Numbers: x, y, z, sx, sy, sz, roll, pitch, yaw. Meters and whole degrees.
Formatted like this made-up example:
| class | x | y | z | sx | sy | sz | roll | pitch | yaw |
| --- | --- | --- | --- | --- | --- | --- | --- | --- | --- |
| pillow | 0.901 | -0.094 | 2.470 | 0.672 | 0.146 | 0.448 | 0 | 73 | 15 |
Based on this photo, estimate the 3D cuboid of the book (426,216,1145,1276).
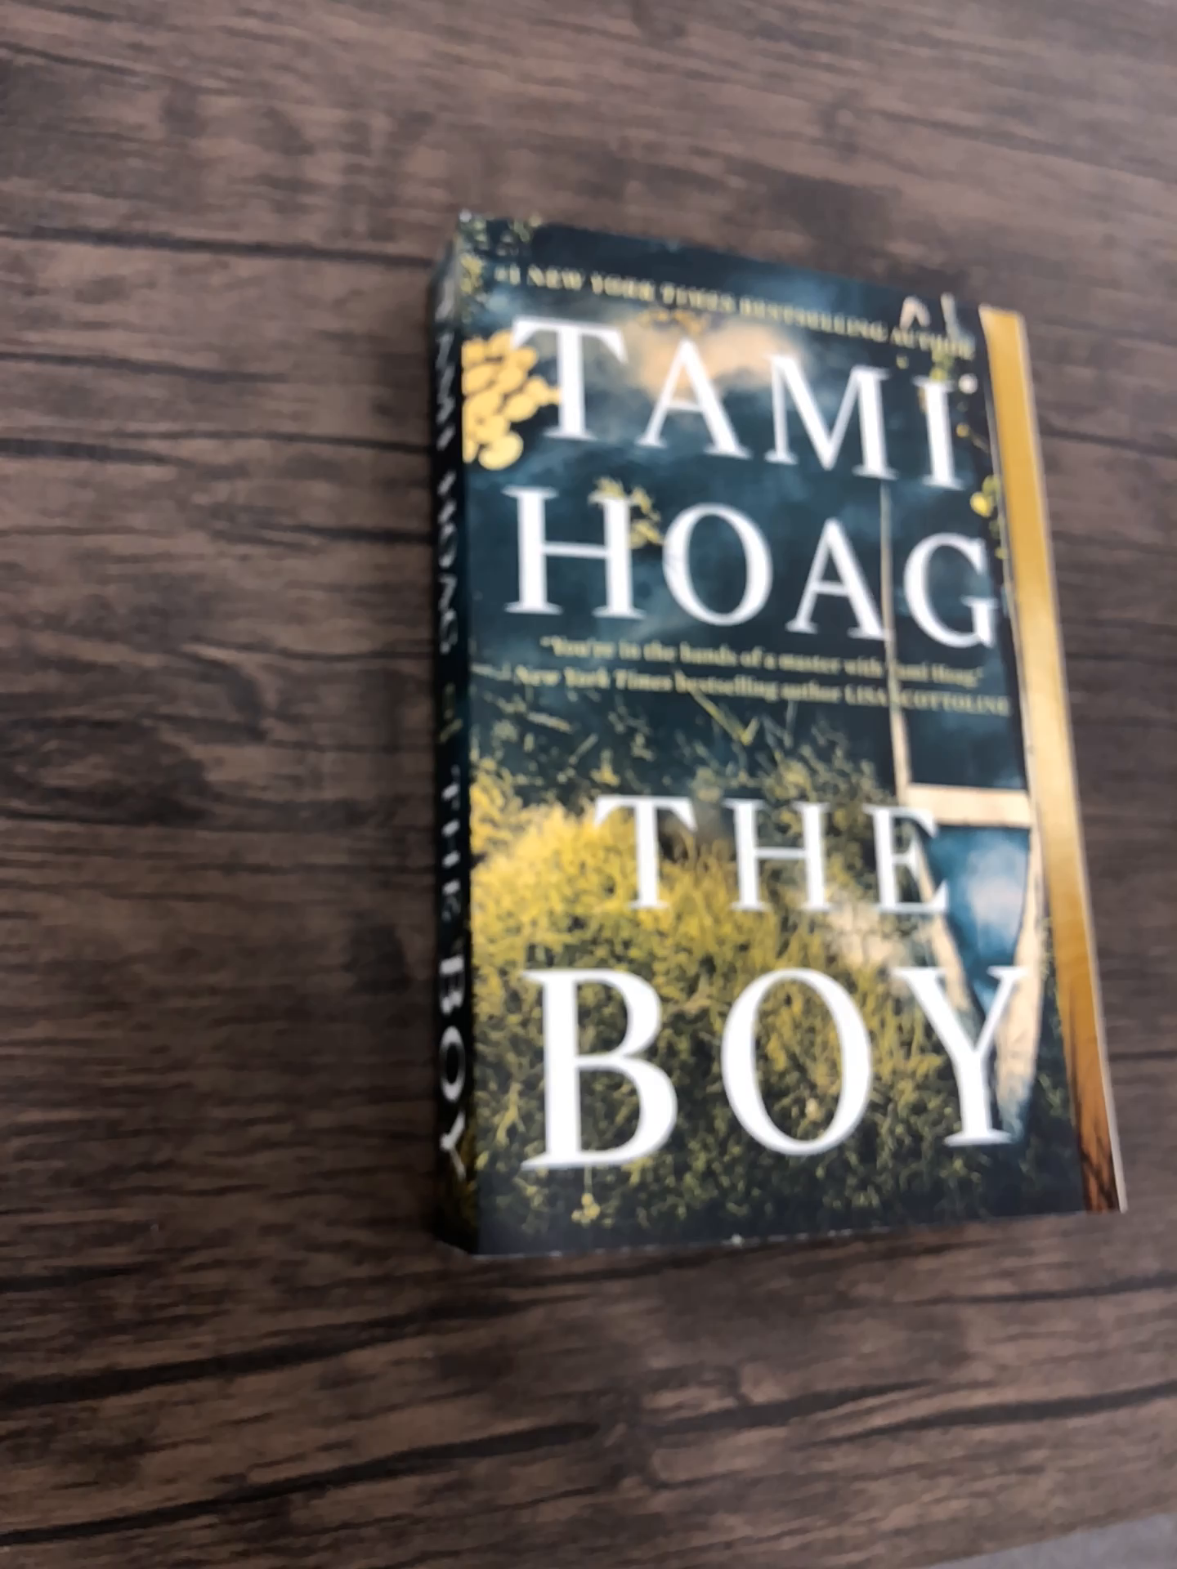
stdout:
| class | x | y | z | sx | sy | sz | roll | pitch | yaw |
| --- | --- | --- | --- | --- | --- | --- | --- | --- | --- |
| book | 0.037 | -0.010 | 0.283 | 0.139 | 0.032 | 0.202 | 2 | 77 | -17 |
